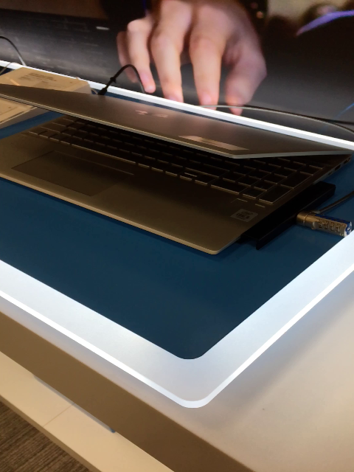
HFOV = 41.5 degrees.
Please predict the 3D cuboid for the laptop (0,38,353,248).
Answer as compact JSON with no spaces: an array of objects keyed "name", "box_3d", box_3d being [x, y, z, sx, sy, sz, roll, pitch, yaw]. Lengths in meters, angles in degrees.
[{"name":"laptop","box_3d":[-0.028,-0.133,0.537,0.352,0.105,0.251,24,44,31]}]
